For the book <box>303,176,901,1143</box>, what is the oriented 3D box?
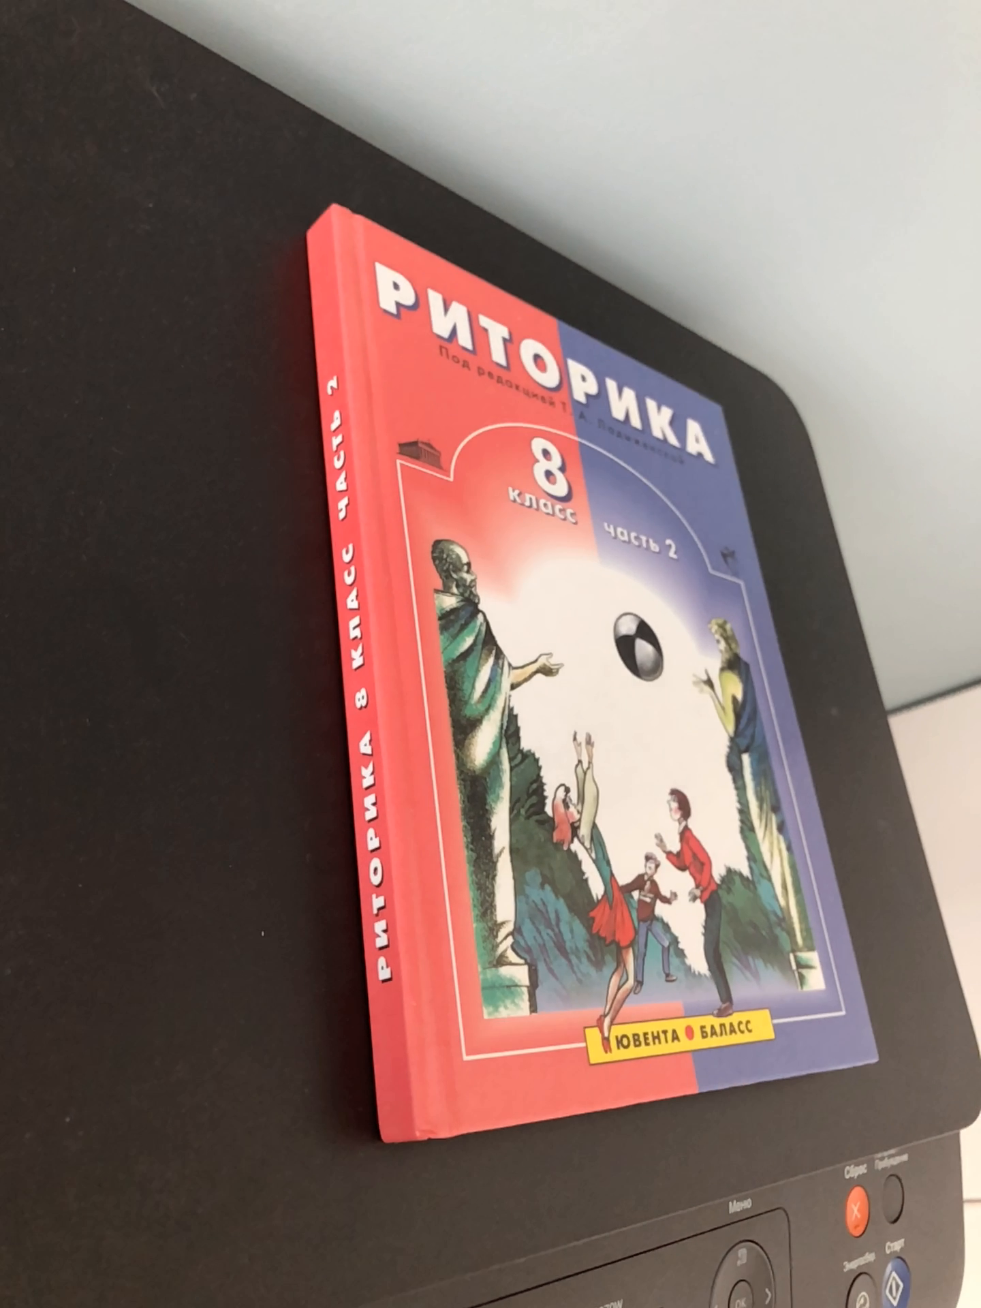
[{"bbox_3d":[0.033,0.000,0.295,0.171,0.020,0.220,13,61,-42],"label":"book"}]
